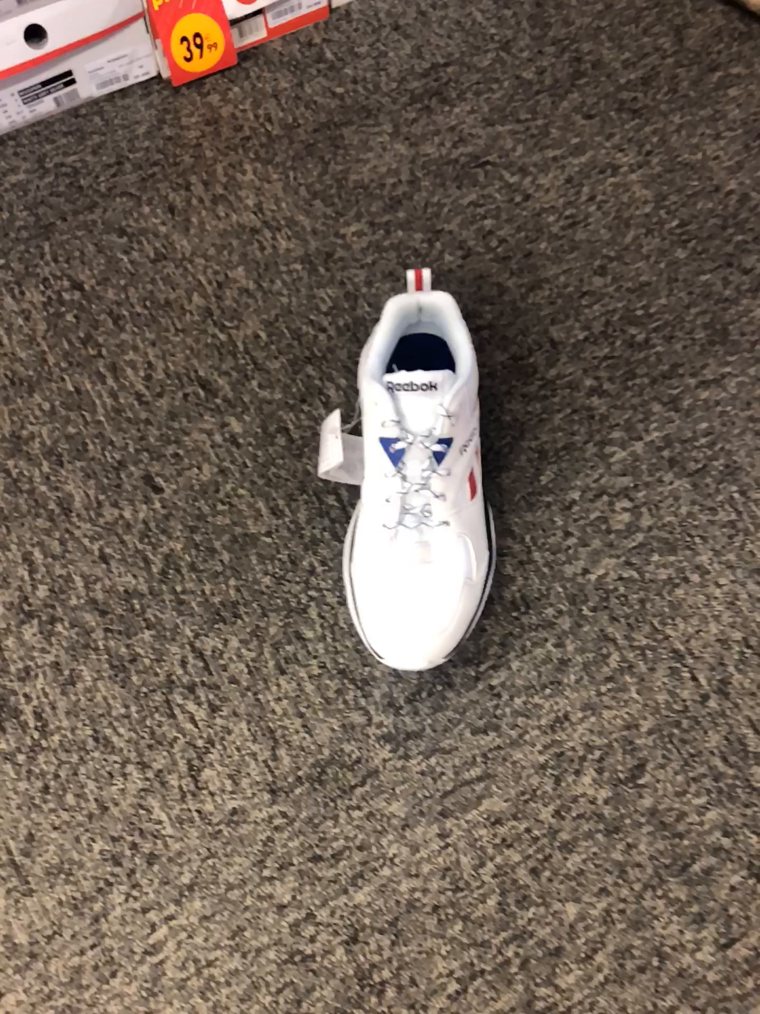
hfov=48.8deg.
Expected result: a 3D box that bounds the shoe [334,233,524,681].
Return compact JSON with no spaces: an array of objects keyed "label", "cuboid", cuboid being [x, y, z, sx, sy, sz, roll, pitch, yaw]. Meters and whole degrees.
[{"label":"shoe","cuboid":[0.028,-0.036,0.602,0.113,0.110,0.301,1,69,-2]}]
